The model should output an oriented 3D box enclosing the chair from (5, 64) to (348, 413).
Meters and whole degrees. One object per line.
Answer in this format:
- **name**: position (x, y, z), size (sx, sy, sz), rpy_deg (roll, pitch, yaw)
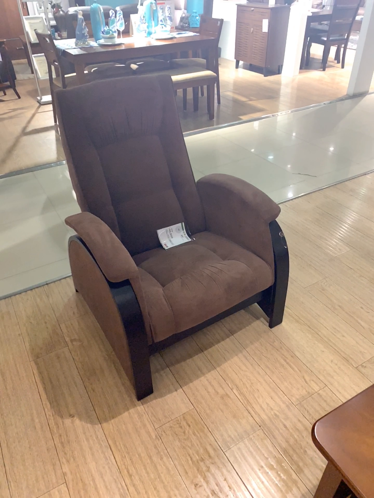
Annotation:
- **chair**: position (-0.107, -0.159, 1.594), size (0.801, 0.886, 1.003), rpy_deg (-21, 41, -25)
